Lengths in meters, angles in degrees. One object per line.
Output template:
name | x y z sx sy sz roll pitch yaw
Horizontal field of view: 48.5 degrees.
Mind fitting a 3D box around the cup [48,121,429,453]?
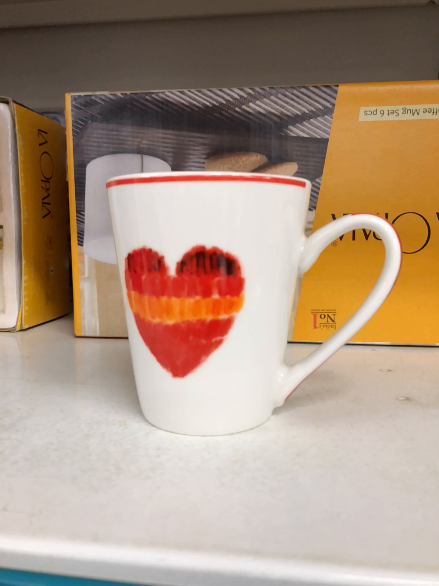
cup | 0.009 -0.007 0.197 0.120 0.100 0.080 2 8 11
